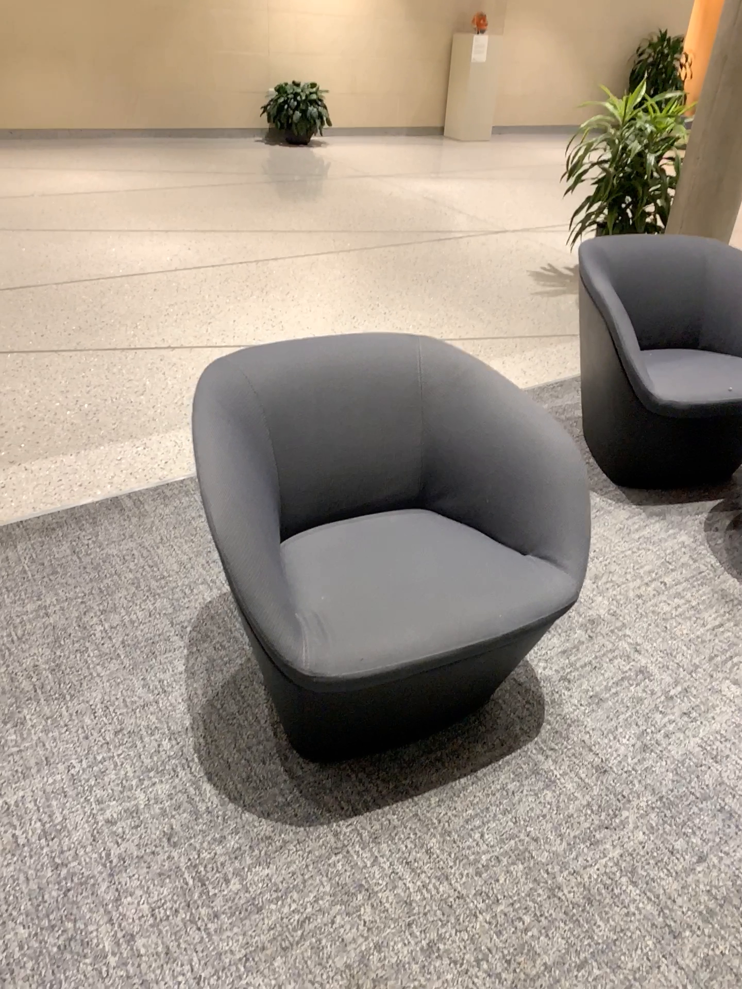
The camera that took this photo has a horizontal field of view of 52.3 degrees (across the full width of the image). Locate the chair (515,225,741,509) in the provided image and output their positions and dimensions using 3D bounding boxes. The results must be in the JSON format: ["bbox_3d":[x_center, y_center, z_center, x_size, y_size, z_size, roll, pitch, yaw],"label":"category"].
[{"bbox_3d":[1.014,-0.453,2.473,0.769,0.668,0.636,-7,34,-17],"label":"chair"}]

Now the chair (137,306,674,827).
[{"bbox_3d":[0.020,0.071,1.561,0.780,0.658,0.635,-13,36,-25],"label":"chair"}]
